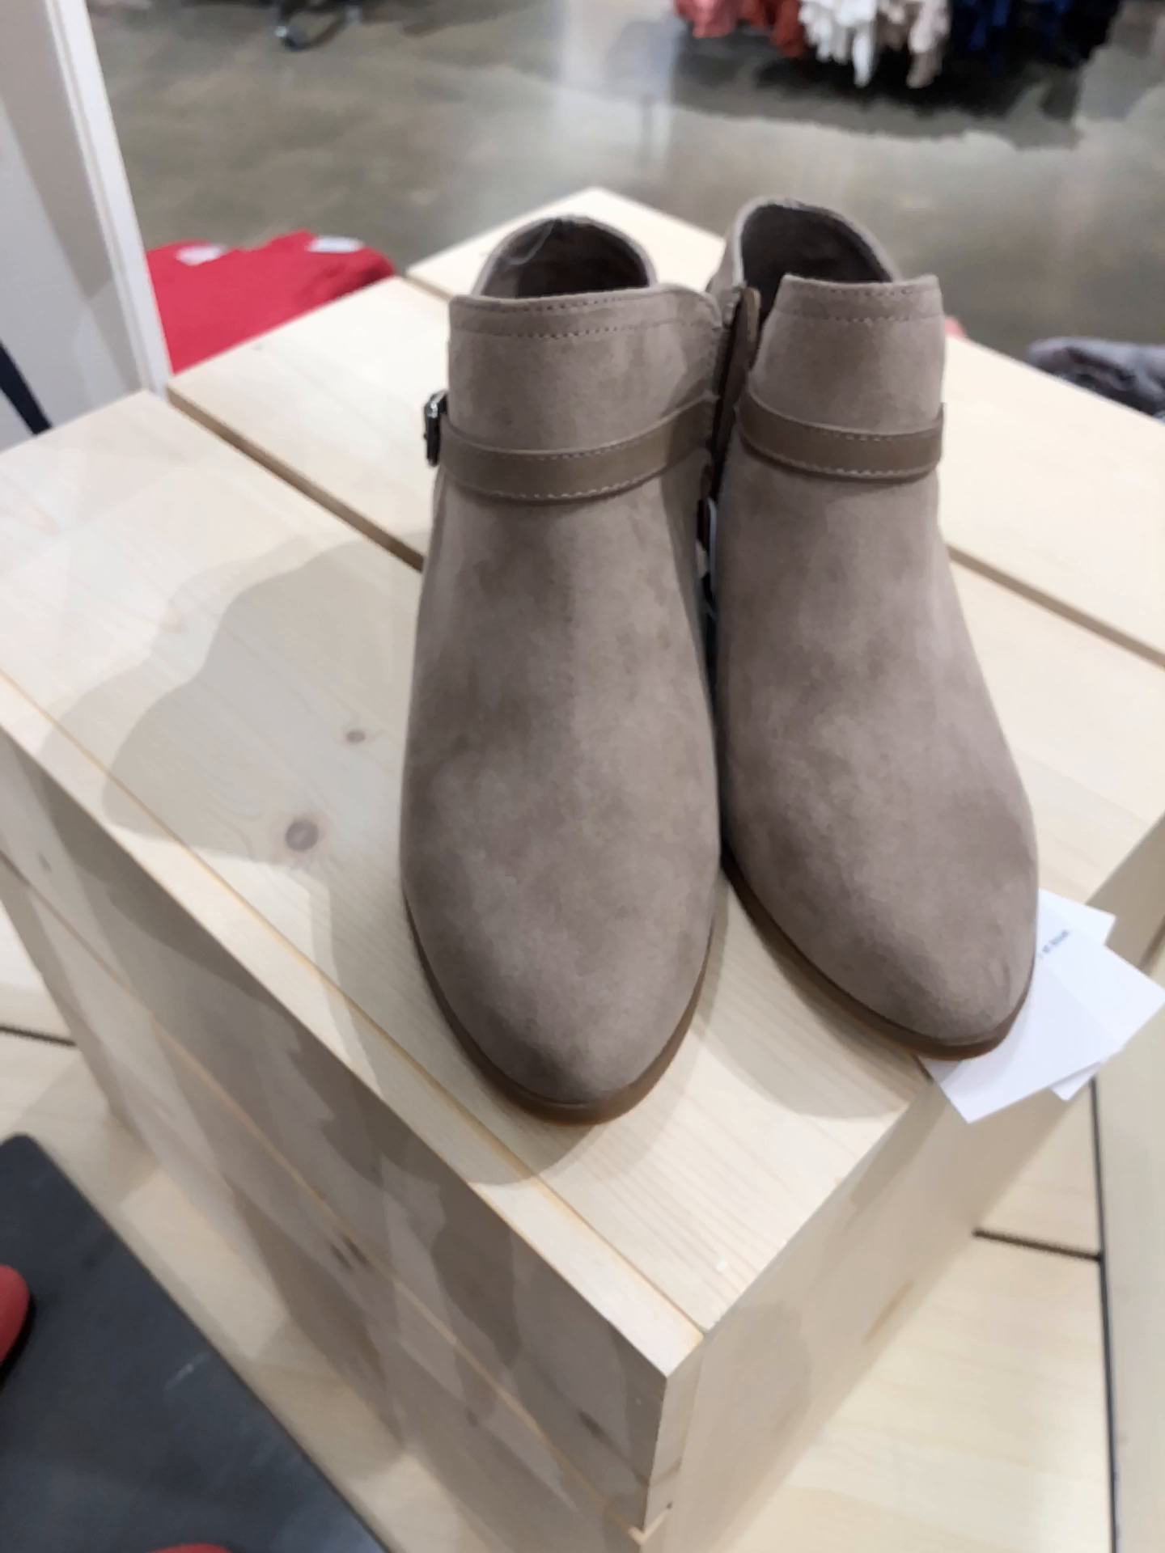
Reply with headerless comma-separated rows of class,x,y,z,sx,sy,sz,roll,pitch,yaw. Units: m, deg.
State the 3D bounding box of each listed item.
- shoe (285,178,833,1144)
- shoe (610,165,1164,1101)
shoe,-0.009,-0.047,0.340,0.090,0.110,0.251,-1,47,-2
shoe,0.070,-0.056,0.354,0.090,0.110,0.251,-4,47,-5
